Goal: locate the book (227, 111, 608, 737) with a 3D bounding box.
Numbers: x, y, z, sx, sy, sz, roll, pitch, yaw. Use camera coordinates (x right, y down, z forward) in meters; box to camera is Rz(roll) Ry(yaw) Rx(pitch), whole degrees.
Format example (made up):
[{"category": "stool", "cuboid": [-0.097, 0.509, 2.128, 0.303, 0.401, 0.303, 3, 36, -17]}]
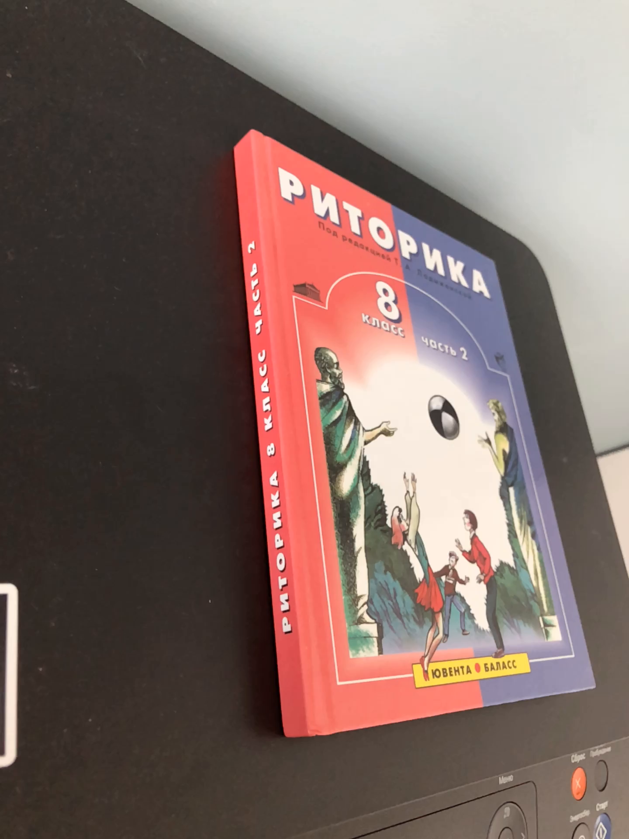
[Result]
[{"category": "book", "cuboid": [0.046, 0.001, 0.293, 0.171, 0.020, 0.220, 13, 62, -41]}]
